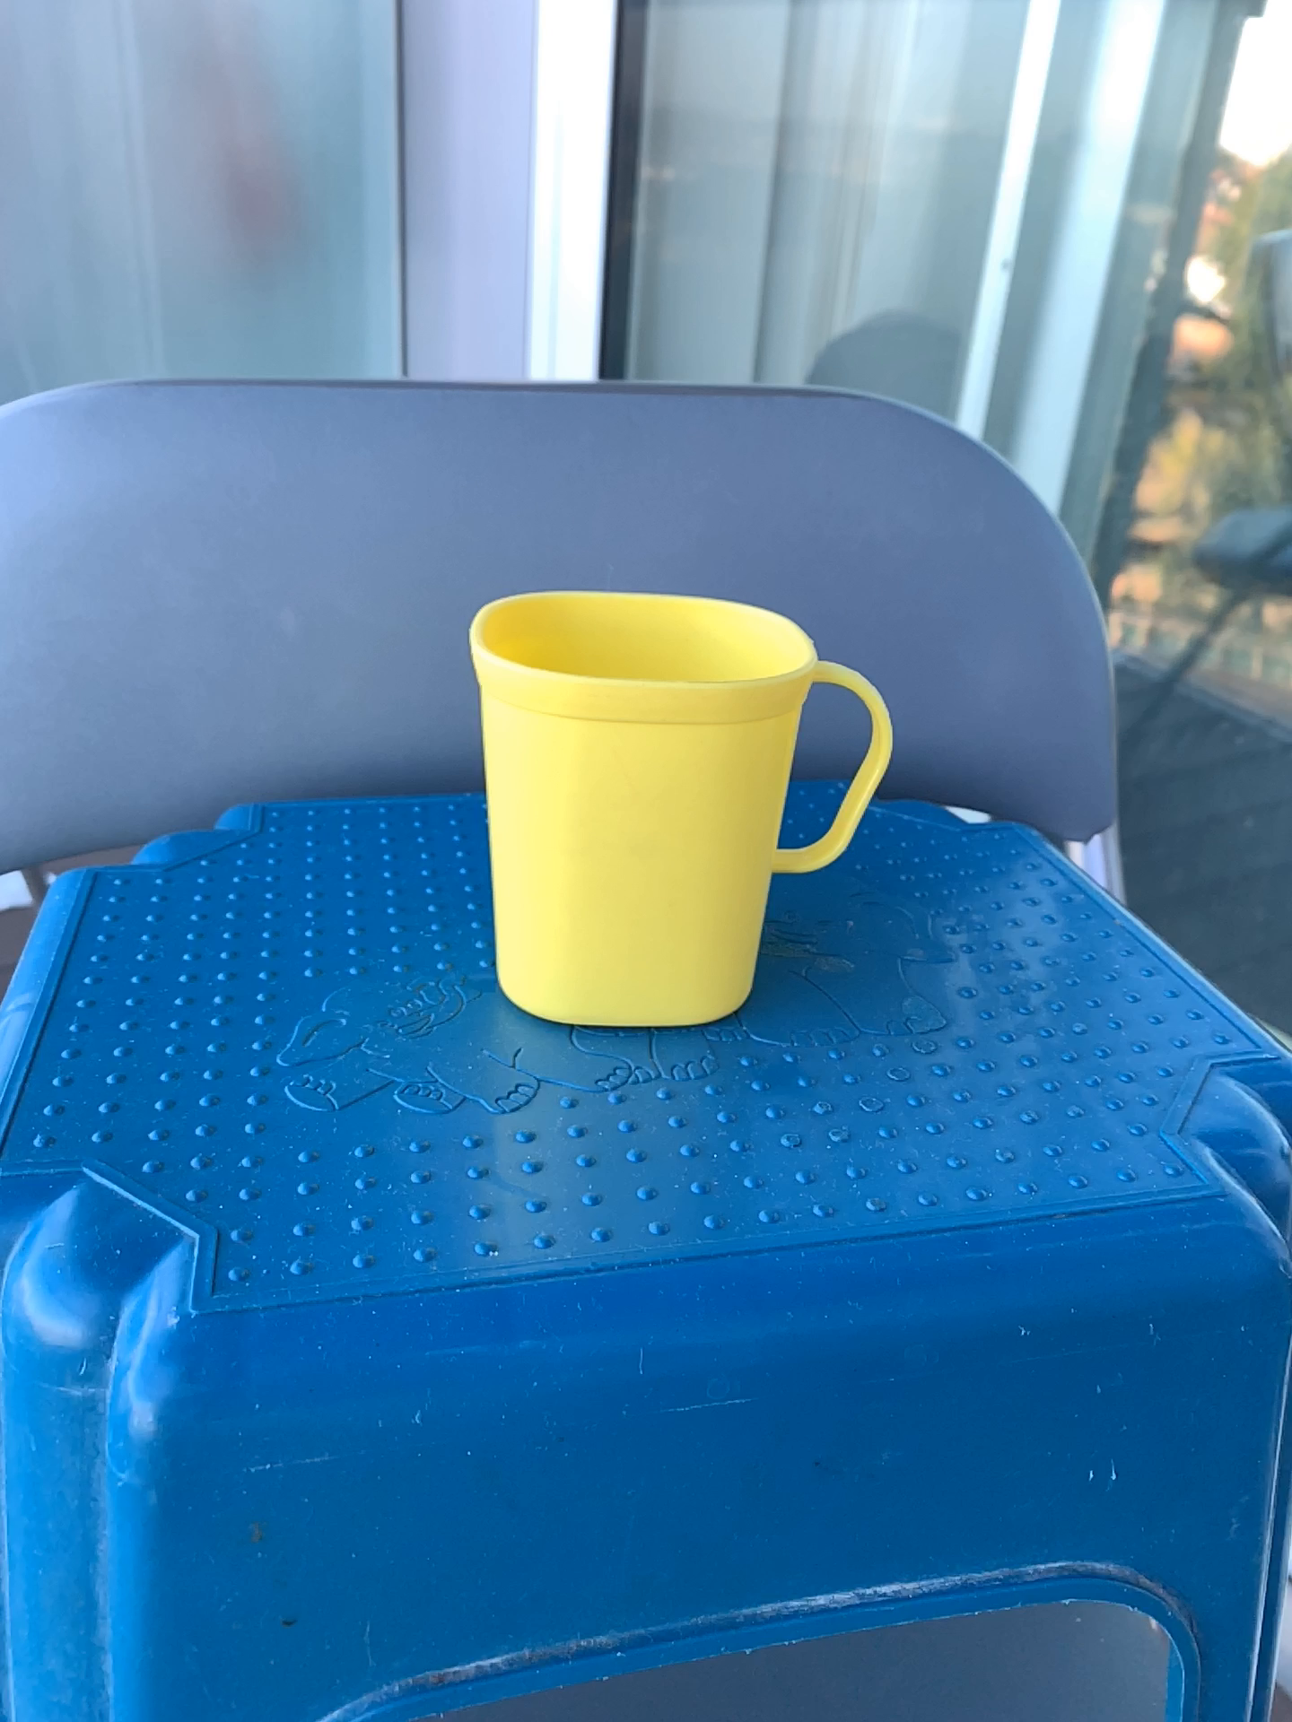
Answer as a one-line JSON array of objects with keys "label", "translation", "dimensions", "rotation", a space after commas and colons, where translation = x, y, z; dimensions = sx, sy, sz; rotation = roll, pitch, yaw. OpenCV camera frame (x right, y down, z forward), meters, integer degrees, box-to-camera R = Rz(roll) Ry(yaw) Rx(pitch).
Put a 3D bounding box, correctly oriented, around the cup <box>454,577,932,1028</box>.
[{"label": "cup", "translation": [0.005, -0.015, 0.295], "dimensions": [0.089, 0.077, 0.068], "rotation": [0, 25, -5]}]
